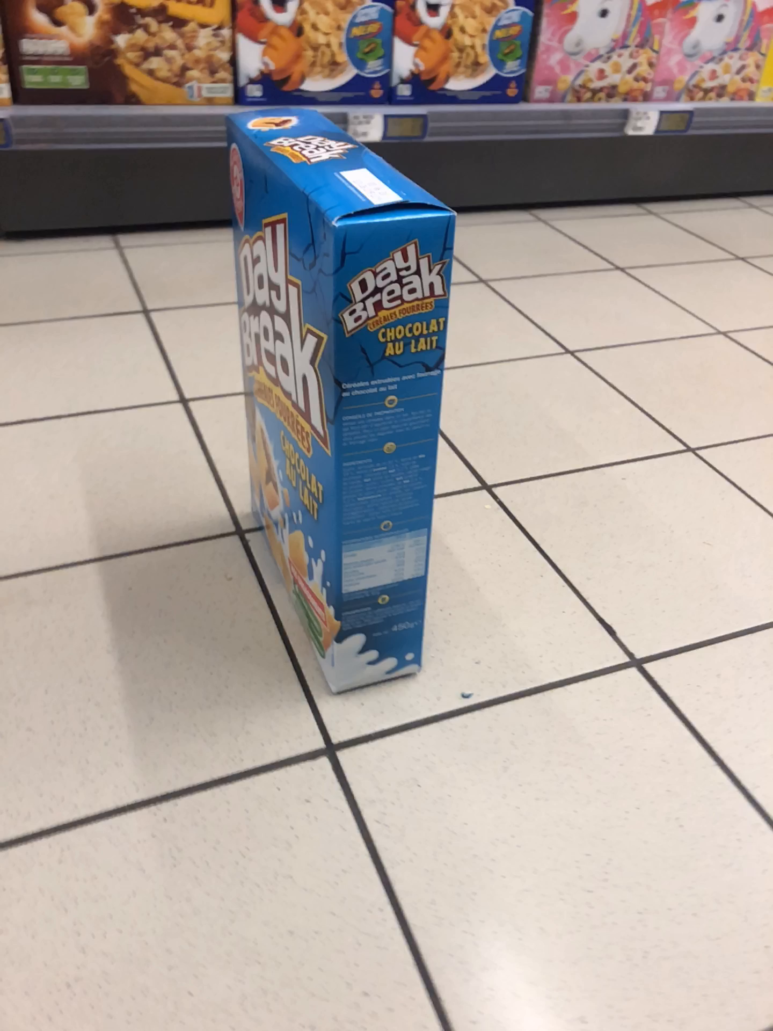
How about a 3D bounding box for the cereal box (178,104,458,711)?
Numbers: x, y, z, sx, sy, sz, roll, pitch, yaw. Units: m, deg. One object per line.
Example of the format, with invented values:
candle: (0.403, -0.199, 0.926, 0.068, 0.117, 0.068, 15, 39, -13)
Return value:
cereal box: (-0.047, -0.063, 0.466, 0.070, 0.258, 0.201, -11, 39, -19)
